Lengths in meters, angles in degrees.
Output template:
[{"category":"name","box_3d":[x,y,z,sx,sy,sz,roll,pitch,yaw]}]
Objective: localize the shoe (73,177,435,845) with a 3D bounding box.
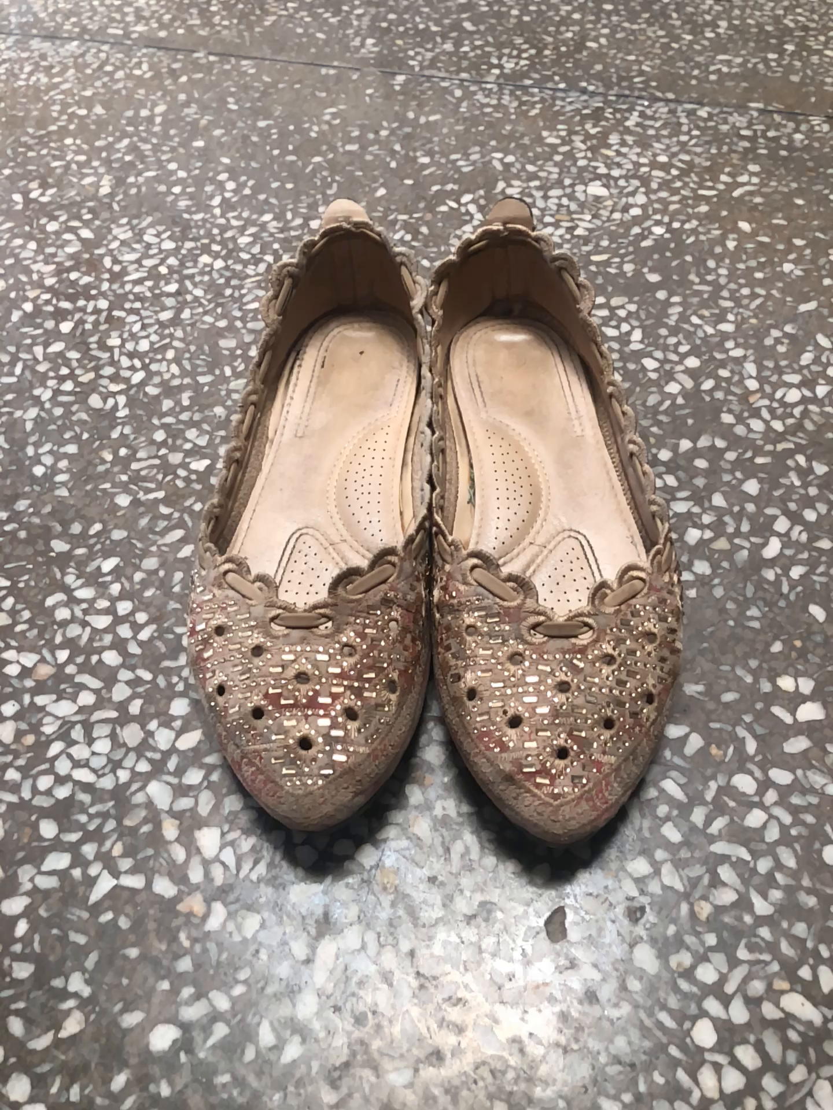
[{"category":"shoe","box_3d":[-0.038,-0.034,0.334,0.089,0.068,0.255,0,53,1]}]

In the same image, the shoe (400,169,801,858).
[{"category":"shoe","box_3d":[0.044,-0.033,0.328,0.089,0.068,0.255,-3,53,-1]}]
